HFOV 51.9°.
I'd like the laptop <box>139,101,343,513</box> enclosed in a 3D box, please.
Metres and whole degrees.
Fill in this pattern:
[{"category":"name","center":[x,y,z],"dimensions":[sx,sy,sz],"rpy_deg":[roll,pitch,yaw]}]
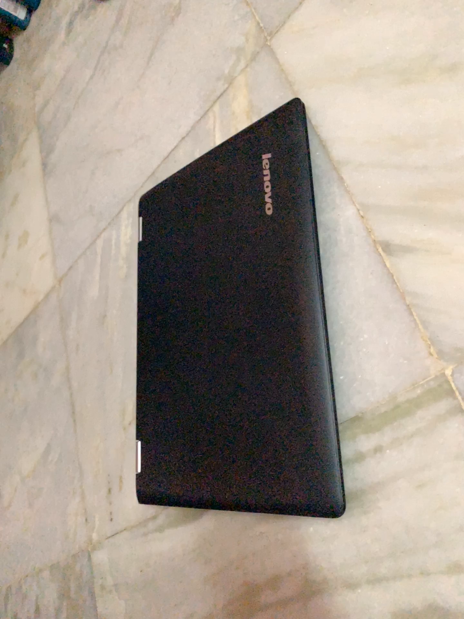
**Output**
[{"category":"laptop","center":[-0.015,0.004,0.434],"dimensions":[0.225,0.001,0.325],"rpy_deg":[-17,69,41]}]
